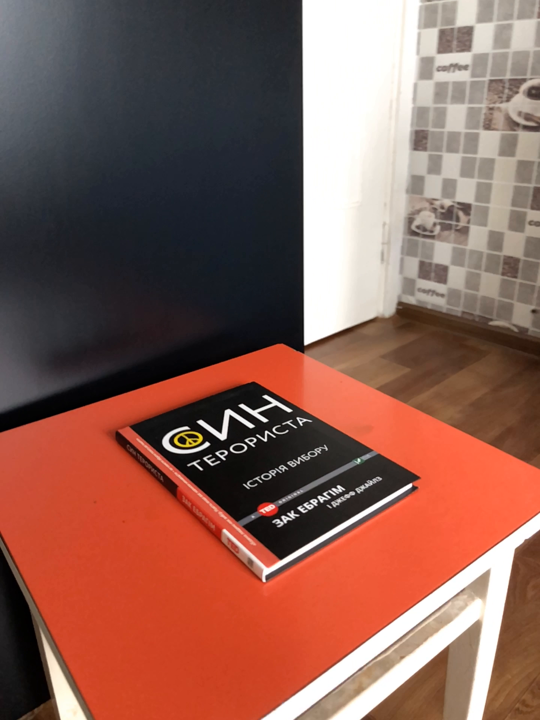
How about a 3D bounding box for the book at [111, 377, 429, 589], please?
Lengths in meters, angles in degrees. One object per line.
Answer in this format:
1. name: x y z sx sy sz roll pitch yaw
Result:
1. book: -0.009 0.075 0.460 0.150 0.013 0.206 -19 30 -34
